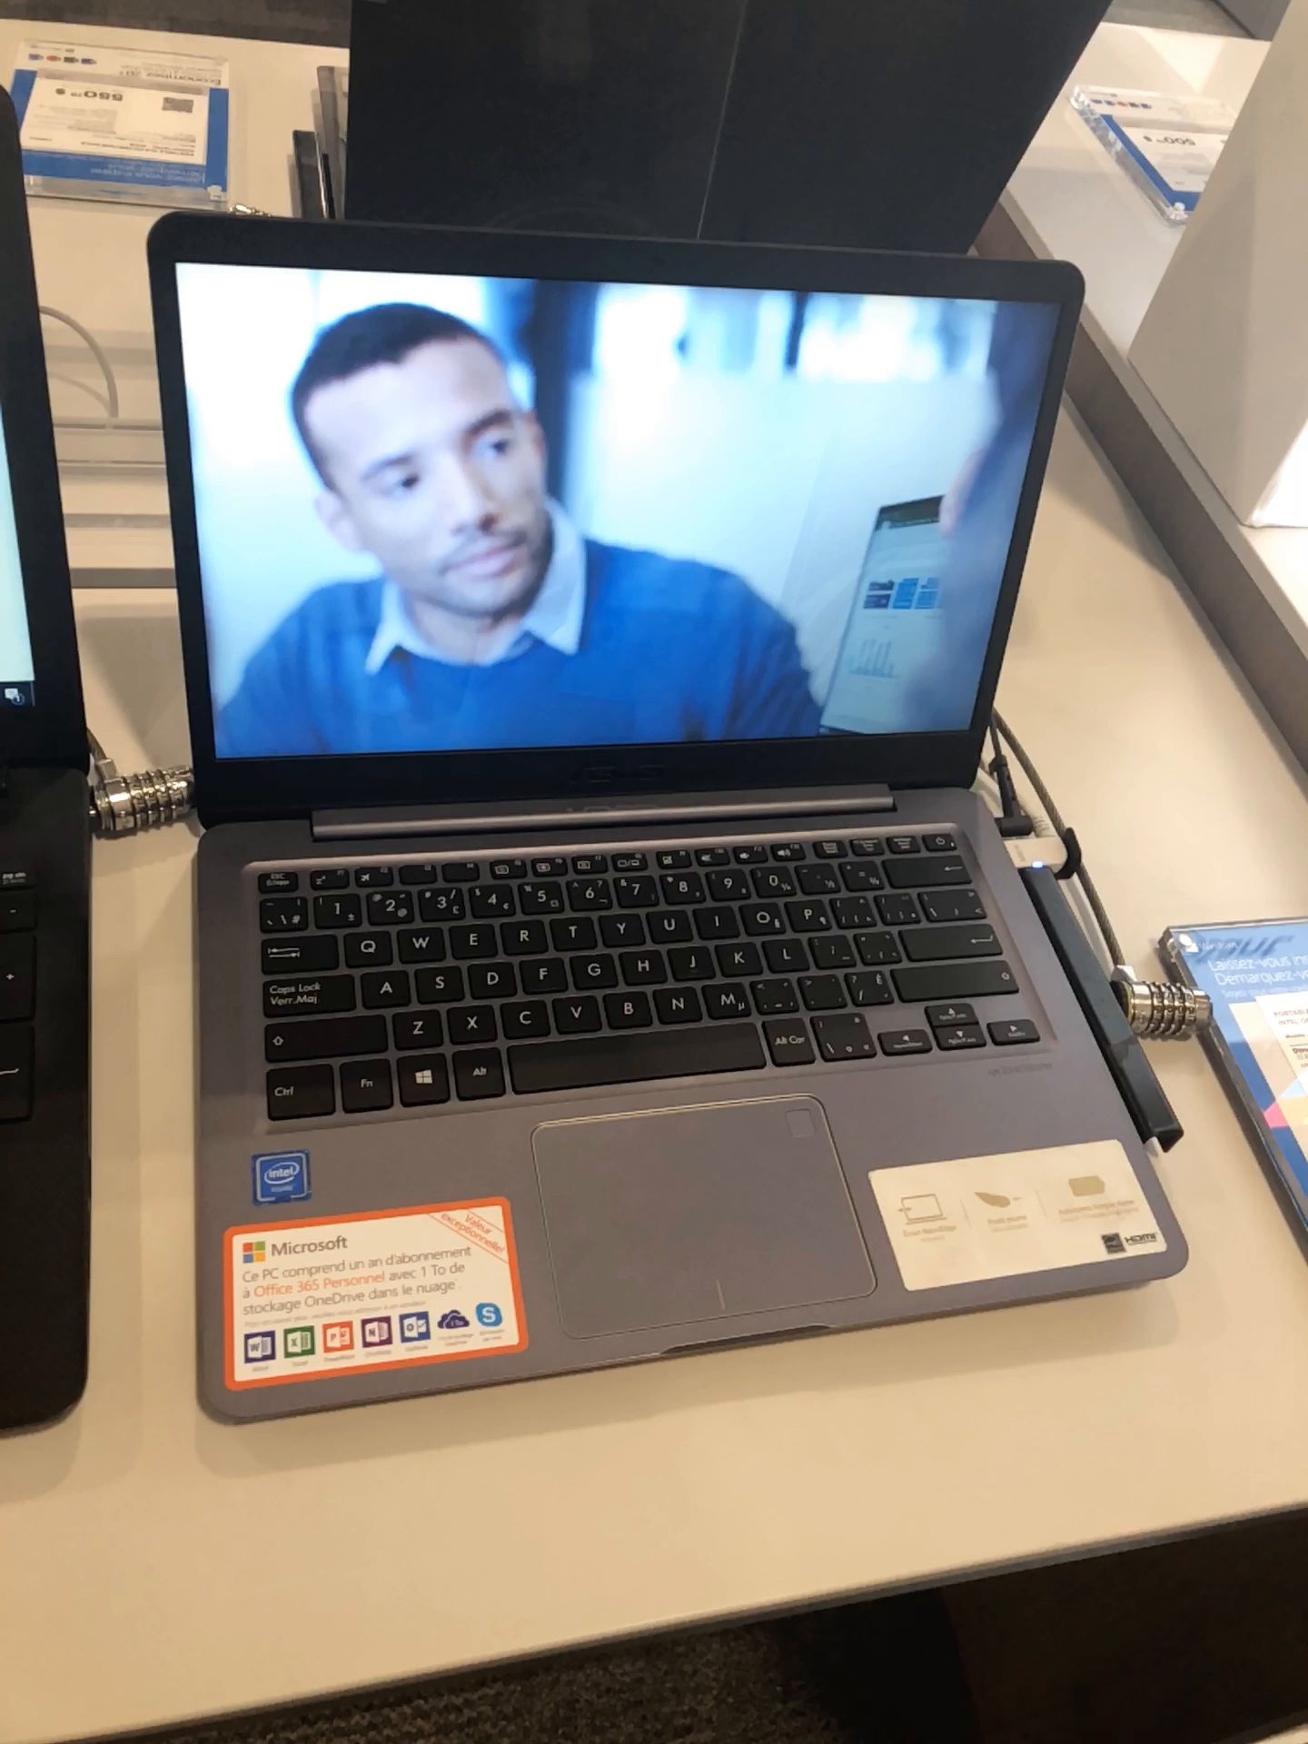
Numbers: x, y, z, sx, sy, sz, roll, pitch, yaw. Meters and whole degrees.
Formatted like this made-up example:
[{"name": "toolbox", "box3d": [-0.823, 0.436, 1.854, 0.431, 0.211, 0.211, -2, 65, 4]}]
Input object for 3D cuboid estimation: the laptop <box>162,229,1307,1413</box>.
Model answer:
[{"name": "laptop", "box3d": [0.017, -0.032, 0.467, 0.316, 0.196, 0.292, -4, 52, -15]}]
